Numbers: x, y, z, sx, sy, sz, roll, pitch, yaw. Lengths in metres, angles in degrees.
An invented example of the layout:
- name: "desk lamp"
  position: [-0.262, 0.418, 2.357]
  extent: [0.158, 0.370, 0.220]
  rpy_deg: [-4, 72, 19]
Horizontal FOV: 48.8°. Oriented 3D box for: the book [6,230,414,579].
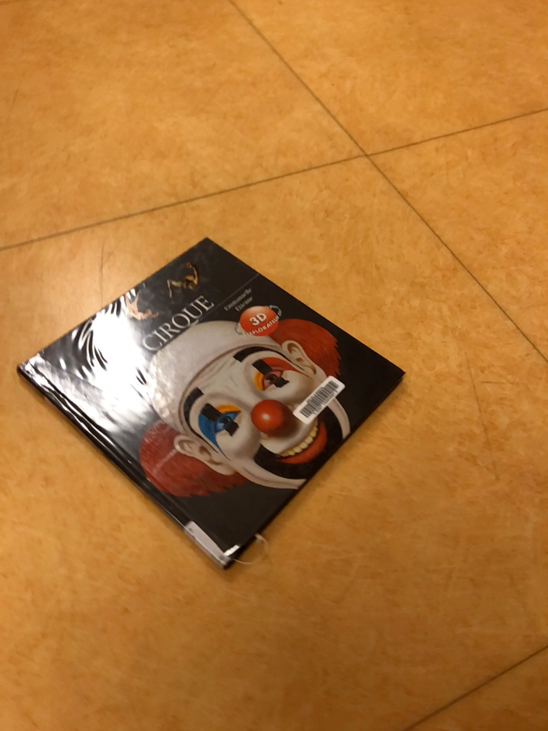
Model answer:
- name: "book"
  position: [-0.047, 0.005, 0.476]
  extent: [0.233, 0.012, 0.215]
  rpy_deg: [37, 59, 21]
